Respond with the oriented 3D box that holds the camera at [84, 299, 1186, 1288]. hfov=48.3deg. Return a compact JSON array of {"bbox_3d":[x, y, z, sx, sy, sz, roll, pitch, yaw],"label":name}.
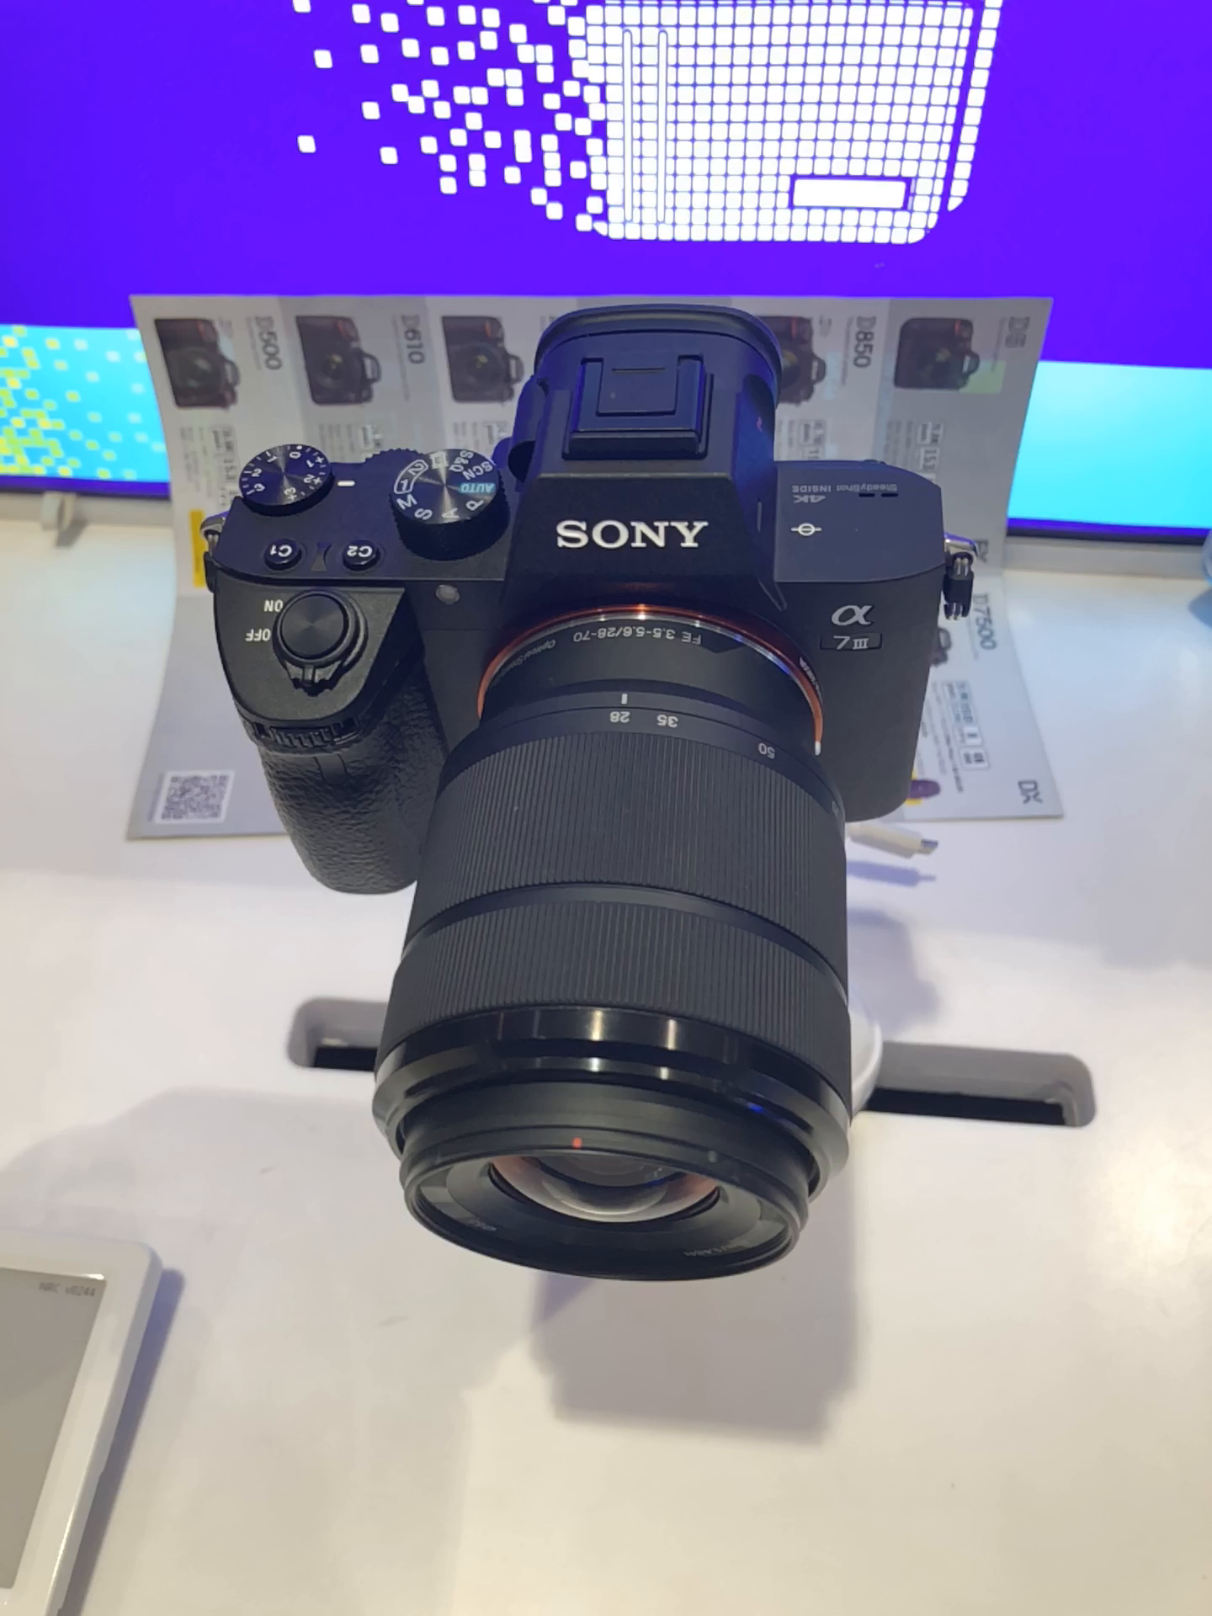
[{"bbox_3d":[0.003,-0.001,0.230,0.120,0.109,0.128,0,52,0],"label":"camera"}]
